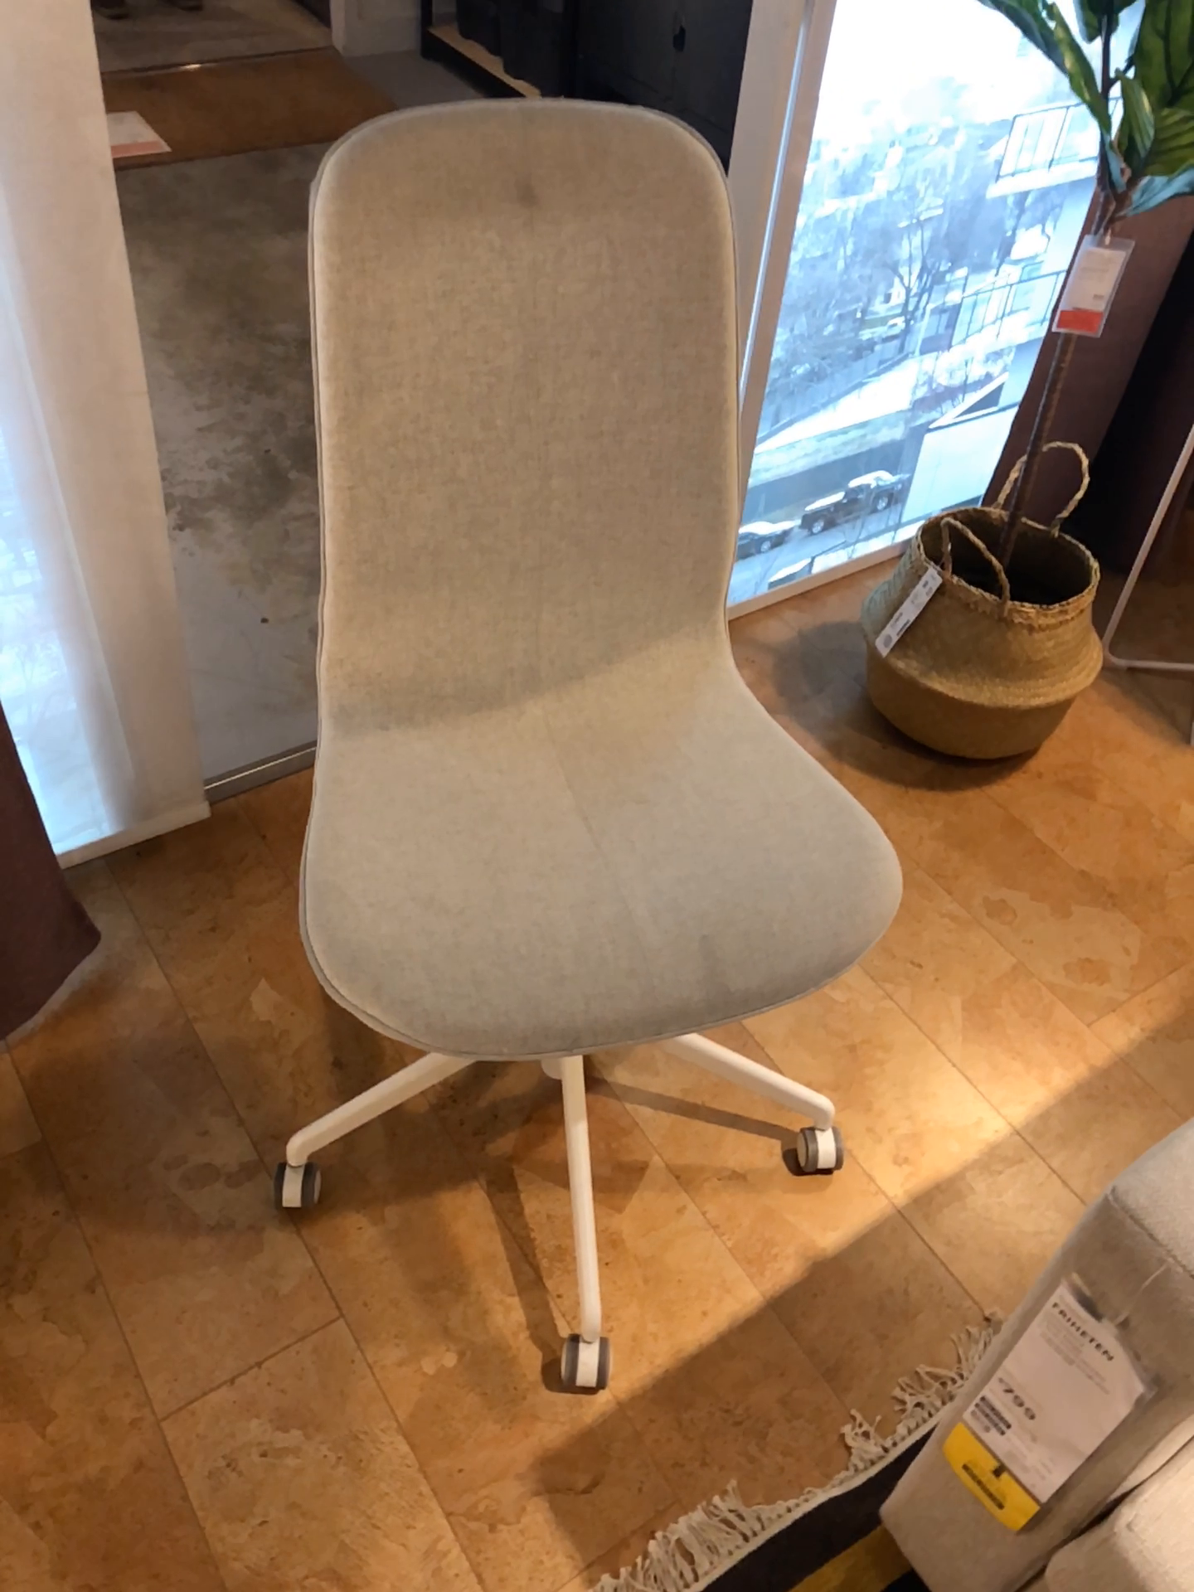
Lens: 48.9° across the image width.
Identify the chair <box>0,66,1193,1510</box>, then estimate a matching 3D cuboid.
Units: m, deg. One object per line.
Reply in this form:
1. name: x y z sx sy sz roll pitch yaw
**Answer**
1. chair: -0.037 -0.004 1.159 0.670 0.937 0.692 -13 48 -19
